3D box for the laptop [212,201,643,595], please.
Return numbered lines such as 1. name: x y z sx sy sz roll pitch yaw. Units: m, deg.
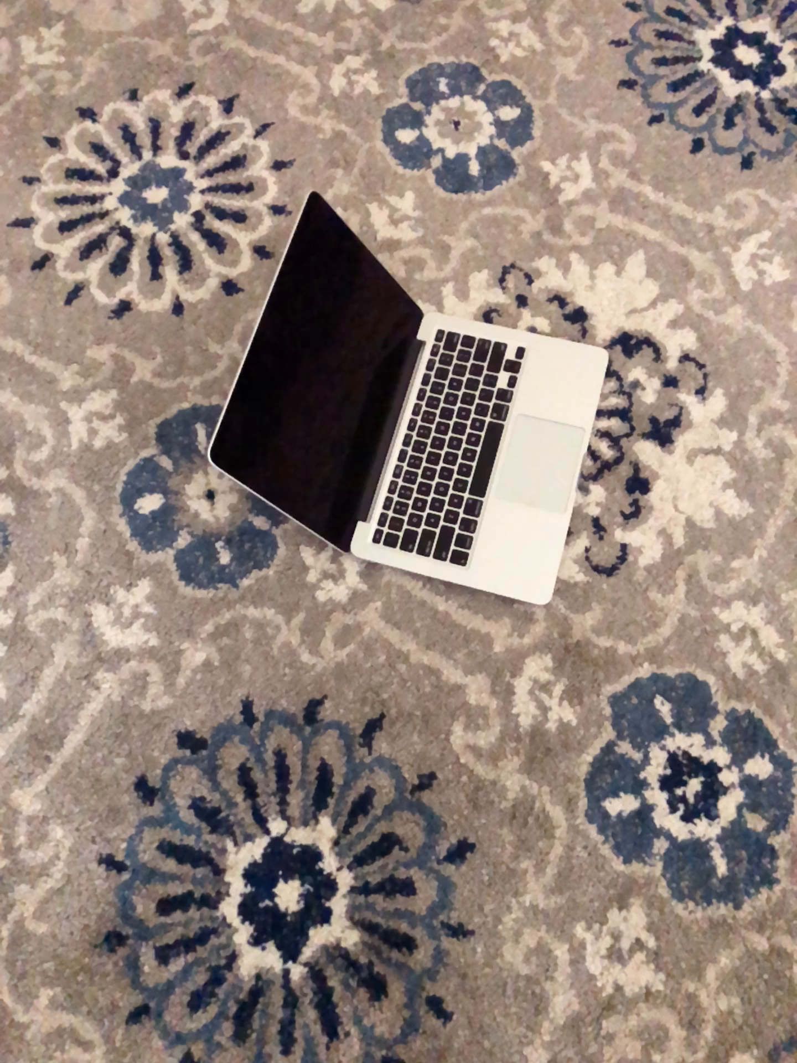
1. laptop: 0.036 -0.133 0.879 0.322 0.171 0.300 13 70 9
